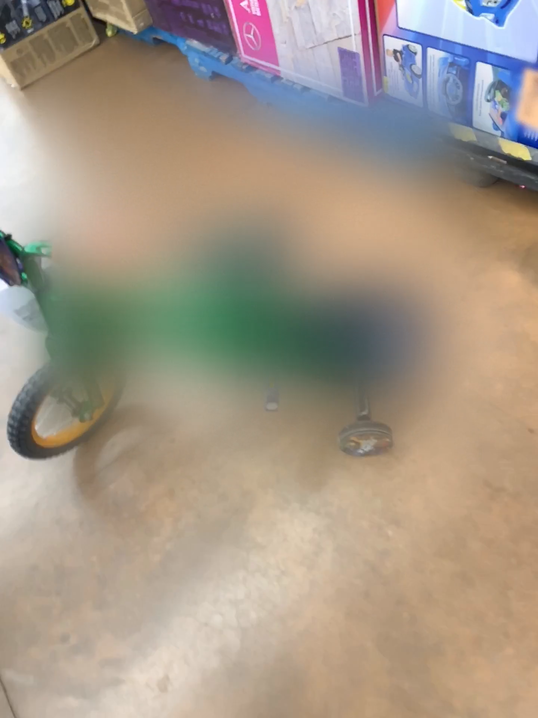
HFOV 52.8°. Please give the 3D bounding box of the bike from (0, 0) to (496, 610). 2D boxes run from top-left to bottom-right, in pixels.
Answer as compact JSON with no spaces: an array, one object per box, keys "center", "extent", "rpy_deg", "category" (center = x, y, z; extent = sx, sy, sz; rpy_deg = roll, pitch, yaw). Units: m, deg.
[{"center":[-0.148,-0.050,0.877],"extent":[0.828,0.677,0.533],"rpy_deg":[-13,51,6],"category":"bike"}]
